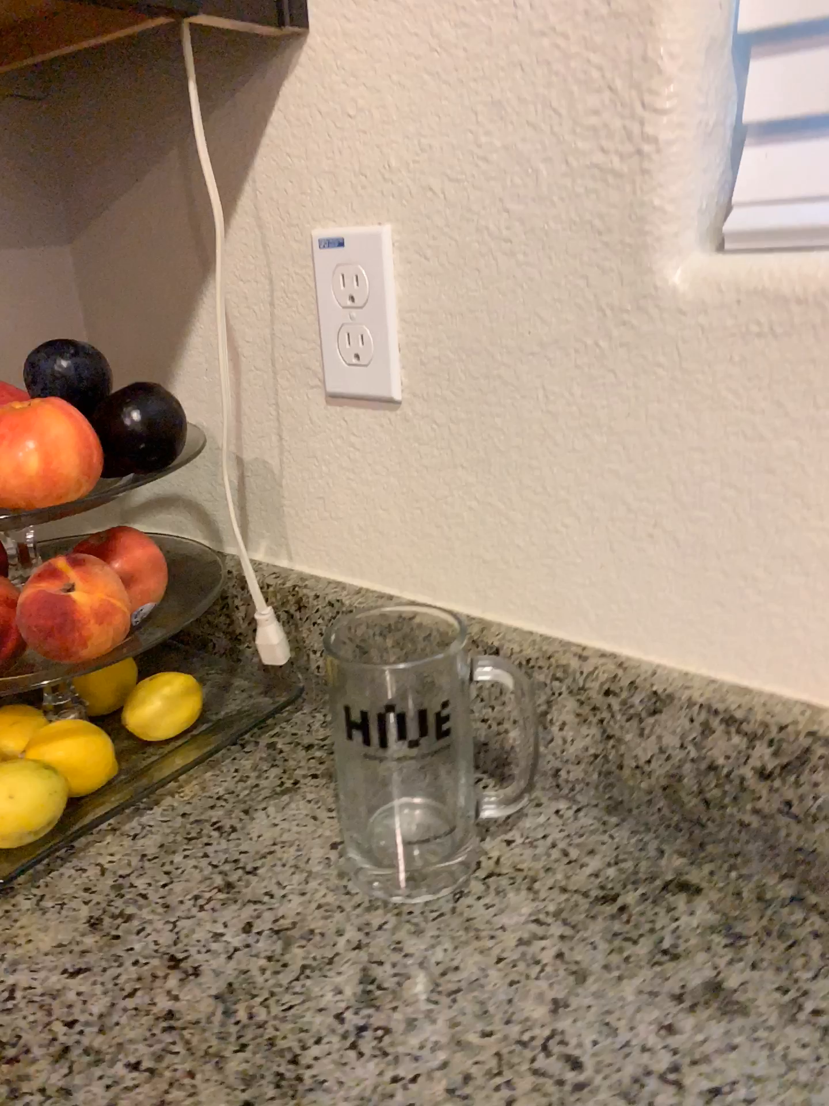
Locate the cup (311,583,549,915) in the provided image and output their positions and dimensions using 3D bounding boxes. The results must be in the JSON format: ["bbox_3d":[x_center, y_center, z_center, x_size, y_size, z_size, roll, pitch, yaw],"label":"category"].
[{"bbox_3d":[0.010,0.111,0.492,0.120,0.159,0.081,-4,20,-2],"label":"cup"}]
